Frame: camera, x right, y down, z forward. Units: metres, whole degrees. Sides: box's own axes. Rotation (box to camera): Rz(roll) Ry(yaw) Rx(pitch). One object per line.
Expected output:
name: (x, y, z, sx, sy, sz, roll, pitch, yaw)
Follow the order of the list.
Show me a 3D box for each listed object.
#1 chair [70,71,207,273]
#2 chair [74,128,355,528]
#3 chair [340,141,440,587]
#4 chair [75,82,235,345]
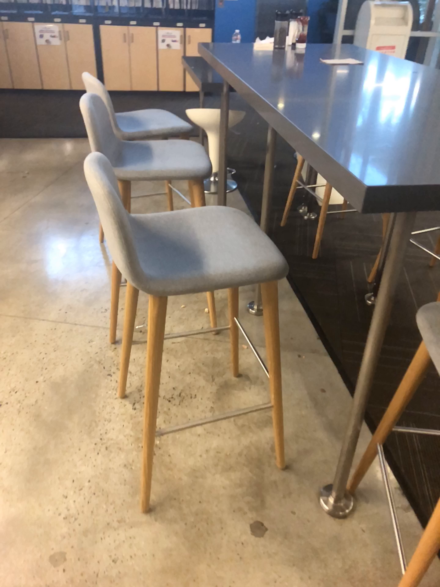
chair: (-0.413, -0.662, 2.549, 0.512, 0.893, 0.492, -14, 31, -24)
chair: (-0.059, 0.091, 1.435, 0.542, 0.982, 0.503, -11, 34, -20)
chair: (0.625, 0.273, 1.039, 0.500, 0.982, 0.666, 5, 32, 4)
chair: (-0.267, -0.355, 2.081, 0.541, 0.982, 0.503, -4, 28, -10)
